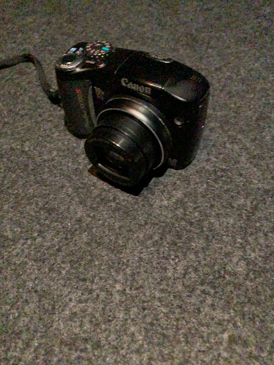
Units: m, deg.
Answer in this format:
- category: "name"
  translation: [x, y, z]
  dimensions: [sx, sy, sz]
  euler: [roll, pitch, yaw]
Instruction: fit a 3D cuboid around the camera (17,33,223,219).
- category: "camera"
  translation: [-0.009, -0.042, 0.209]
  dimensions: [0.108, 0.079, 0.070]
  euler: [23, 58, 17]
